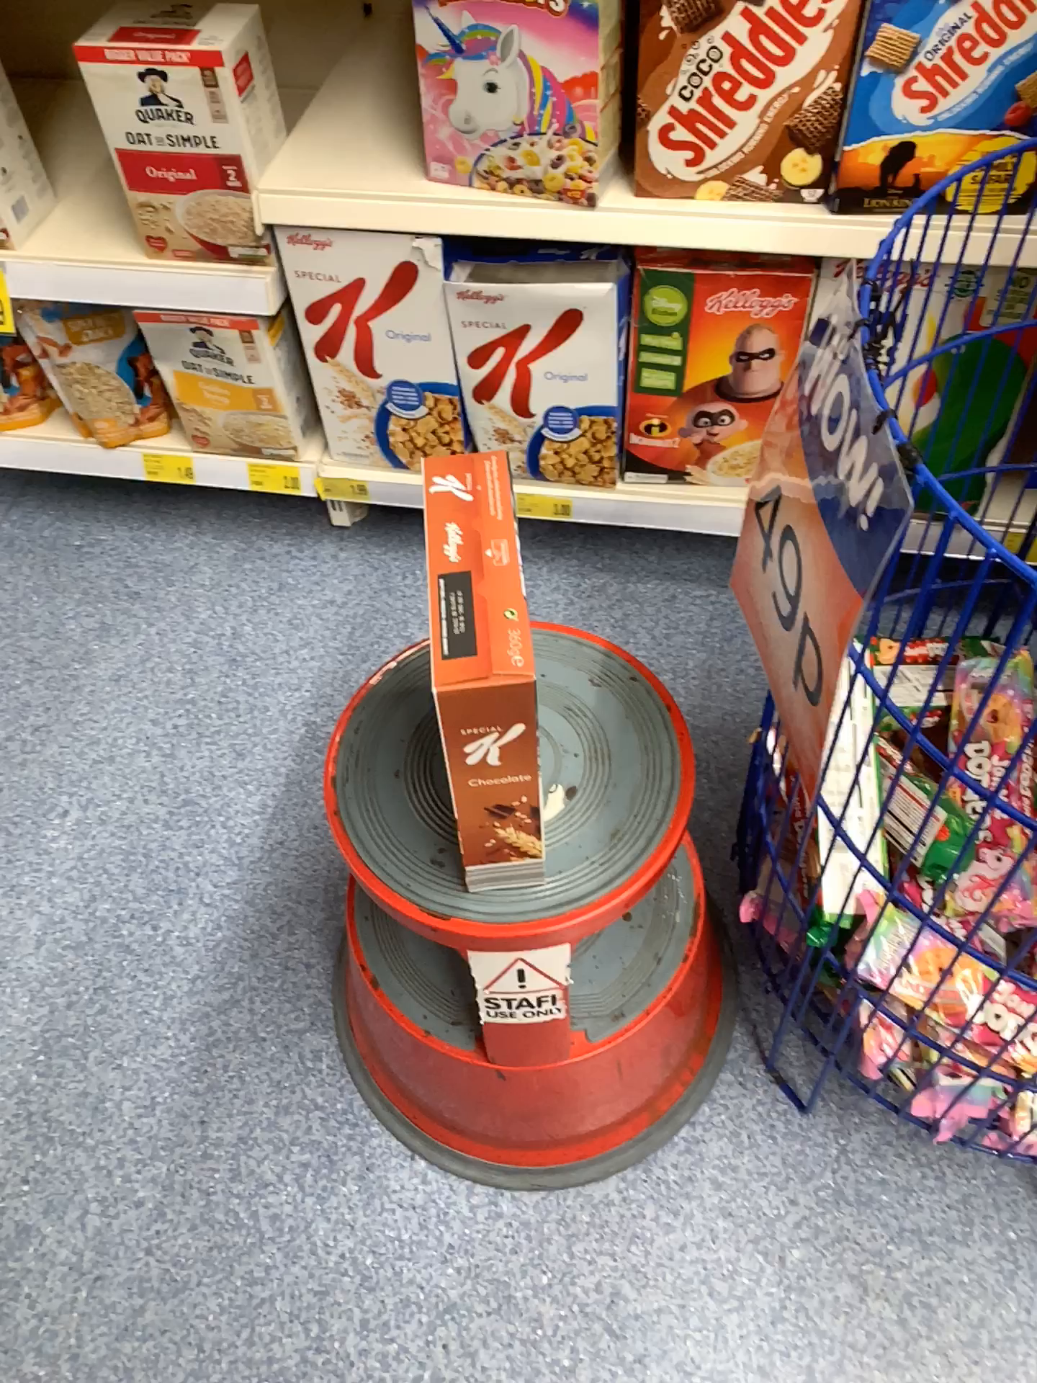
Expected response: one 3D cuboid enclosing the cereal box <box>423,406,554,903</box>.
[{"bbox_3d":[-0.018,-0.016,0.719,0.060,0.268,0.212,-5,52,-1],"label":"cereal box"}]
